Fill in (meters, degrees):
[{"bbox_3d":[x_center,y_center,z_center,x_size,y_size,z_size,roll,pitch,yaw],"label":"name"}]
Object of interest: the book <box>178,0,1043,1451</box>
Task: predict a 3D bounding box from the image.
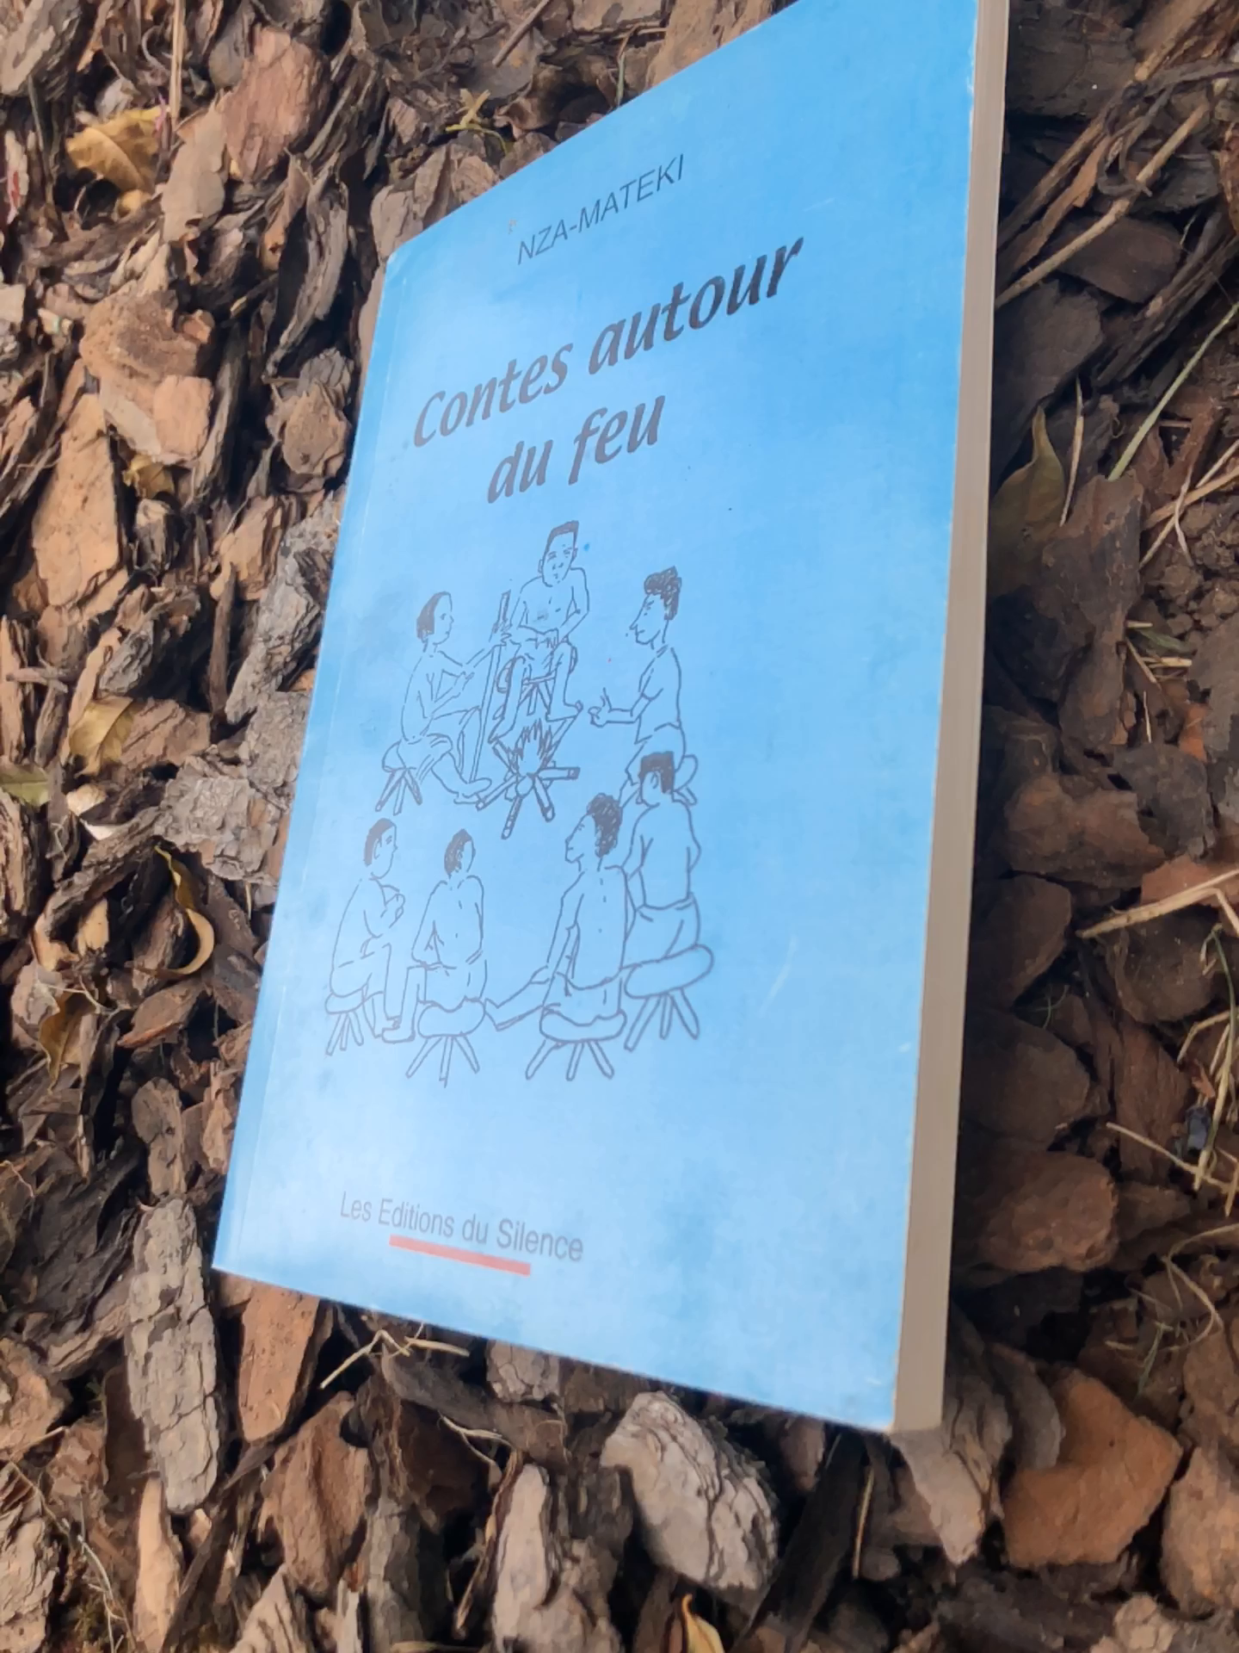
[{"bbox_3d":[-0.008,-0.027,0.218,0.144,0.015,0.202,-7,71,44],"label":"book"}]
